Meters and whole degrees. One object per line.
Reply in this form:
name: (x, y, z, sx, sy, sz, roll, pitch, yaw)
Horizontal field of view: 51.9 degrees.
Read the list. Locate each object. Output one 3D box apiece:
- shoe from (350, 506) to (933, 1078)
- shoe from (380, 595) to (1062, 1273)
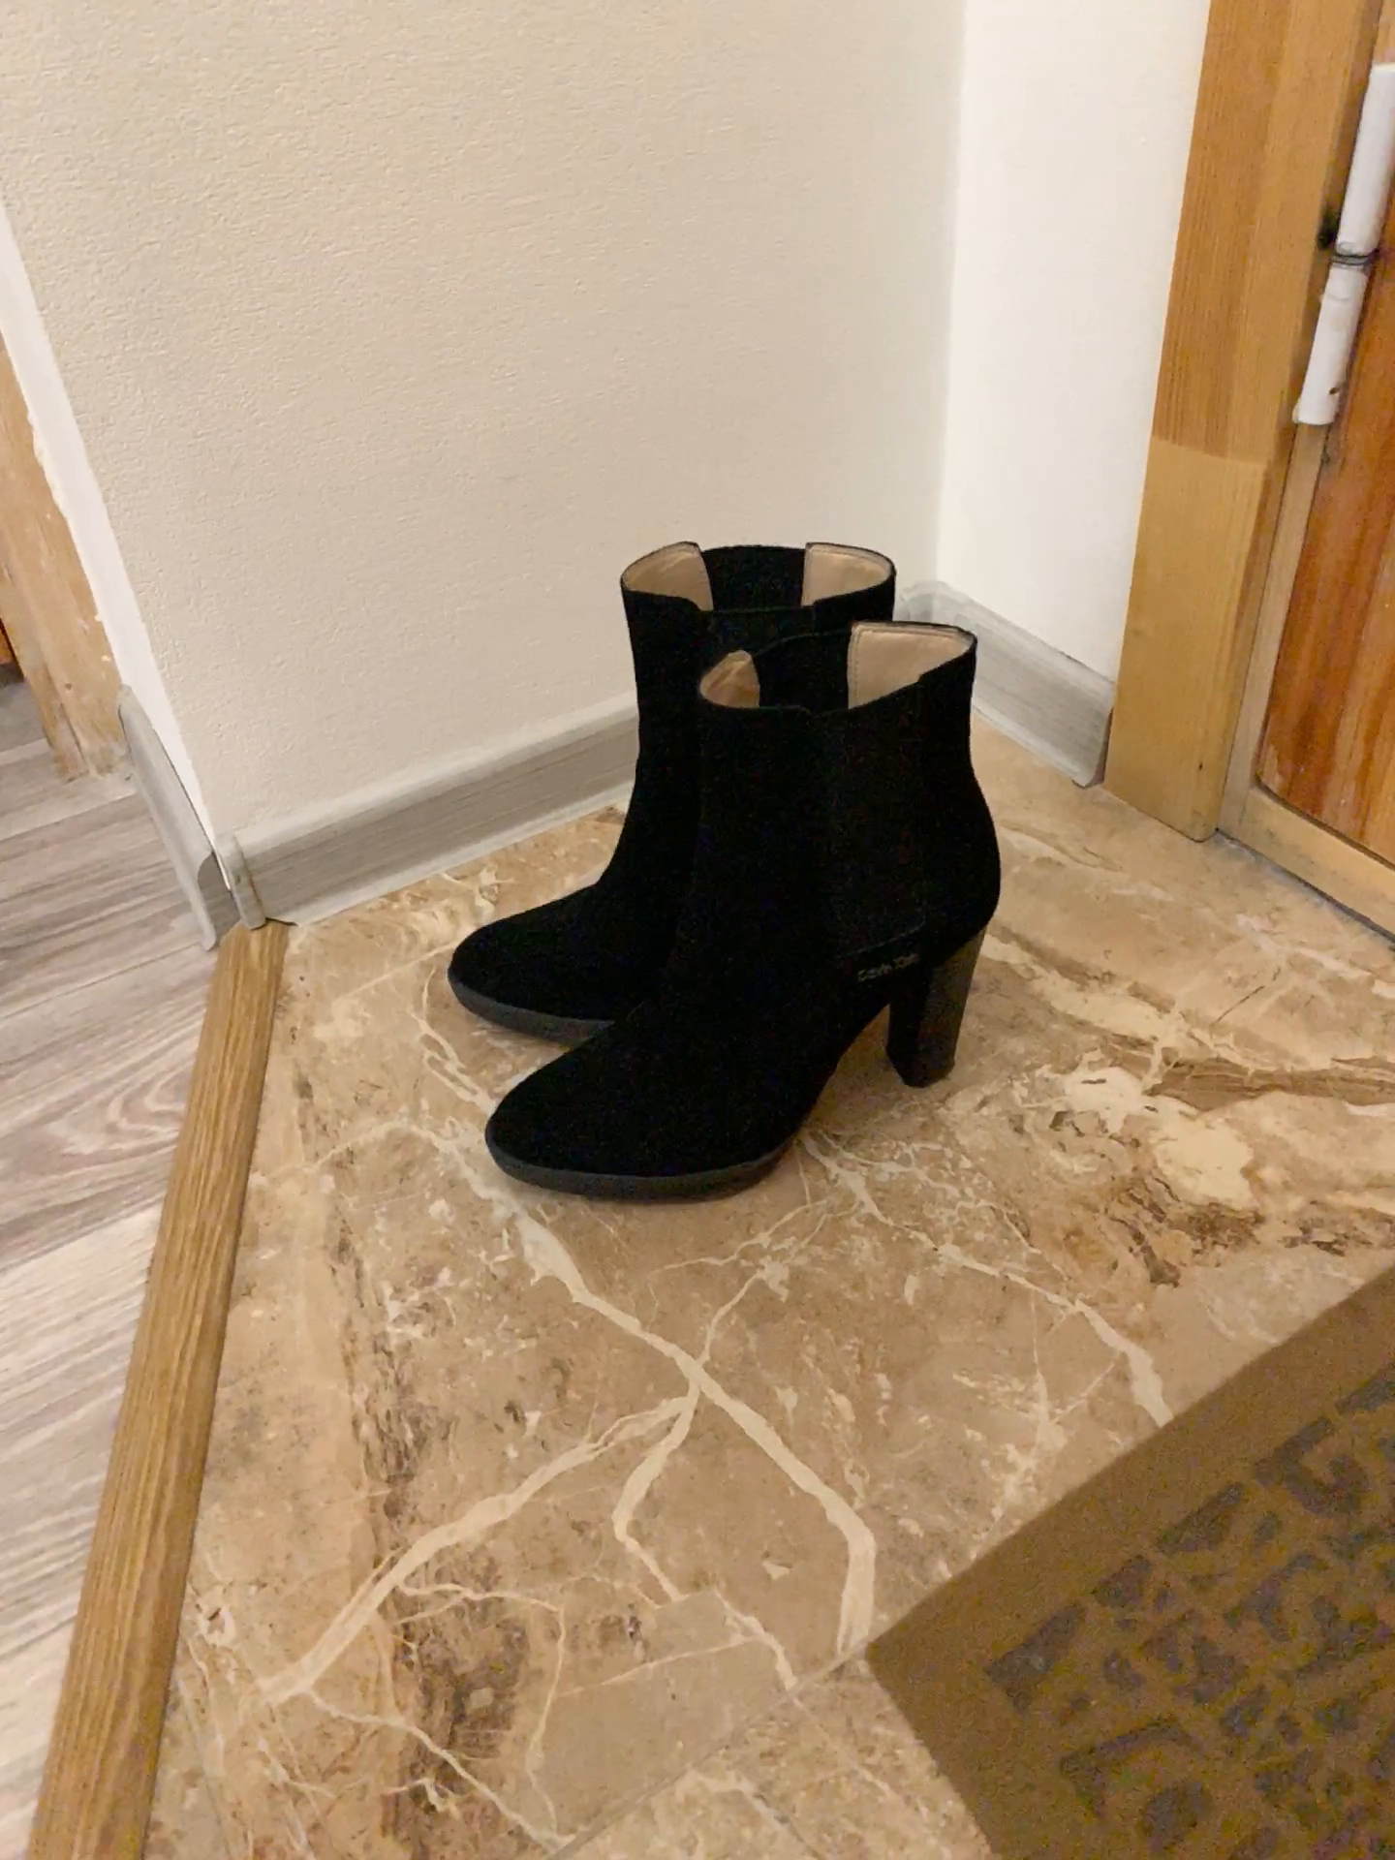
shoe: (-0.020, -0.056, 0.614, 0.214, 0.198, 0.087, -9, 39, -6)
shoe: (0.012, 0.003, 0.547, 0.214, 0.198, 0.087, -15, 40, -13)
